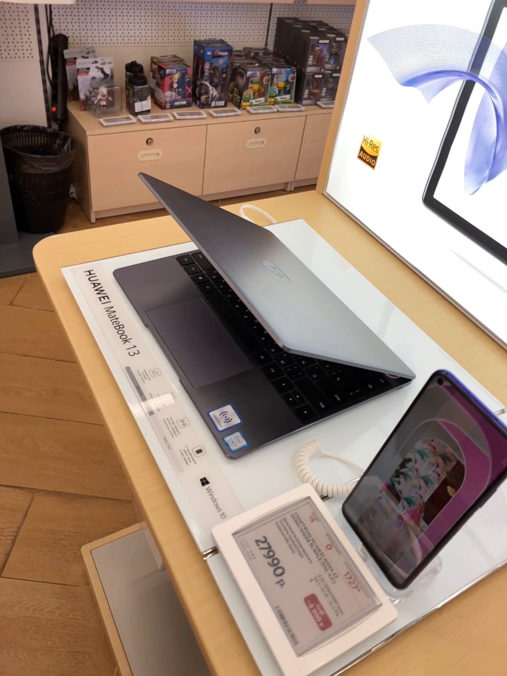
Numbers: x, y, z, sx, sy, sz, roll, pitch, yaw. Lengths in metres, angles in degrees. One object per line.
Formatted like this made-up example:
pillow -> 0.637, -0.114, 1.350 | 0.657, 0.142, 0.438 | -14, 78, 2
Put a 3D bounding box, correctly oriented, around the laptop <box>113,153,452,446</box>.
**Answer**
laptop -> 0.010, -0.062, 0.556 | 0.204, 0.106, 0.272 | -18, 49, -26
